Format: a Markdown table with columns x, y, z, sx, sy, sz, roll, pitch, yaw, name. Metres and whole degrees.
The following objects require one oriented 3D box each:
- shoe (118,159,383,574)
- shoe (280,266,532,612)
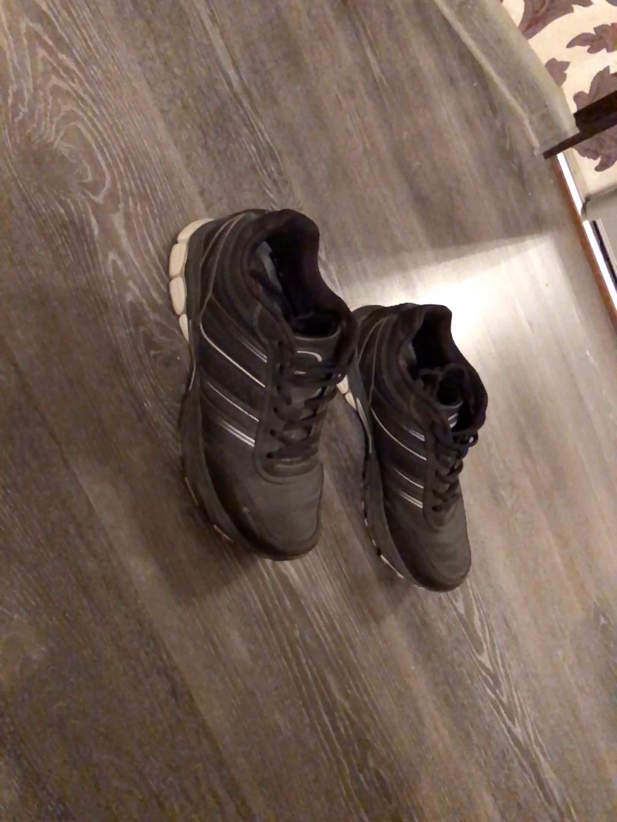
| x | y | z | sx | sy | sz | roll | pitch | yaw | name |
| --- | --- | --- | --- | --- | --- | --- | --- | --- | --- |
| -0.041 | -0.027 | 0.464 | 0.101 | 0.090 | 0.250 | -9 | 86 | -40 | shoe |
| 0.083 | 0.022 | 0.579 | 0.111 | 0.099 | 0.260 | -17 | 91 | -40 | shoe |
